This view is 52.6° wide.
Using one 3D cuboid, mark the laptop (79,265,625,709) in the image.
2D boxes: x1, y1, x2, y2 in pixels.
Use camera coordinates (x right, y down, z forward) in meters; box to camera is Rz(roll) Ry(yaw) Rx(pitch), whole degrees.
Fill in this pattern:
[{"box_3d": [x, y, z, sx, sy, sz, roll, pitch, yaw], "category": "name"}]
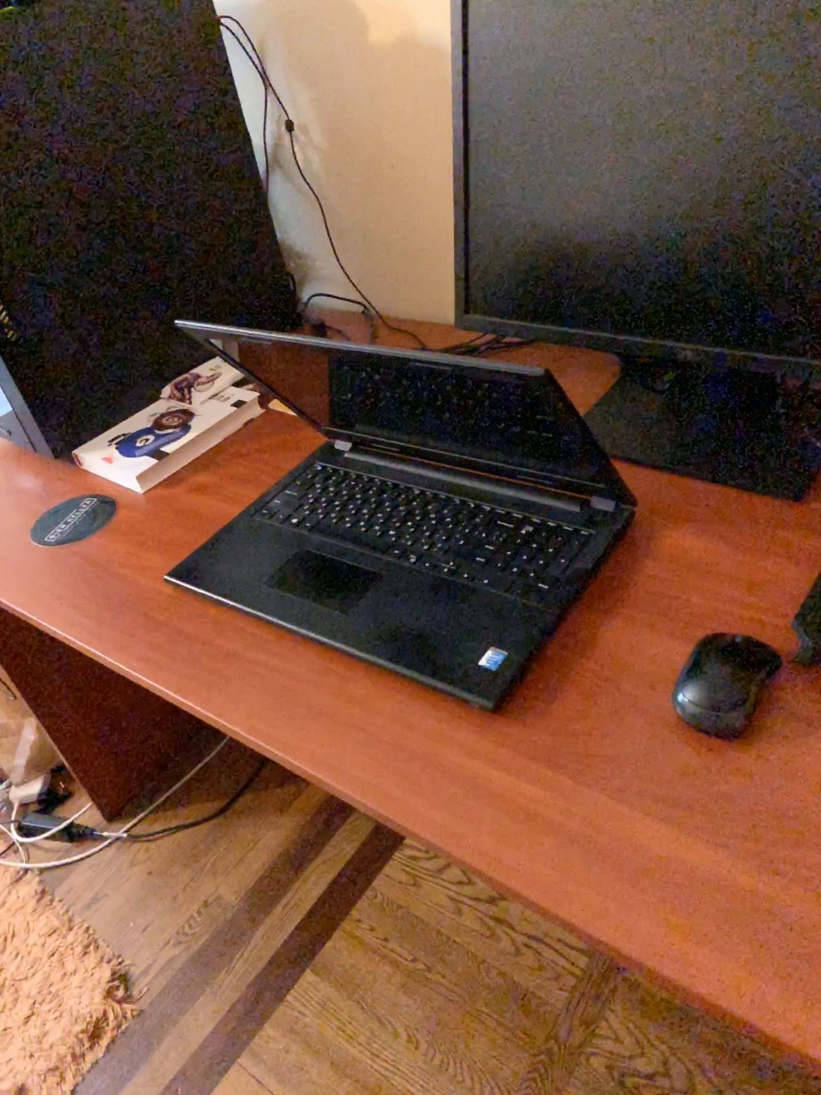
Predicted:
[{"box_3d": [-0.039, -0.083, 0.731, 0.373, 0.212, 0.254, 17, 46, 33], "category": "laptop"}]
